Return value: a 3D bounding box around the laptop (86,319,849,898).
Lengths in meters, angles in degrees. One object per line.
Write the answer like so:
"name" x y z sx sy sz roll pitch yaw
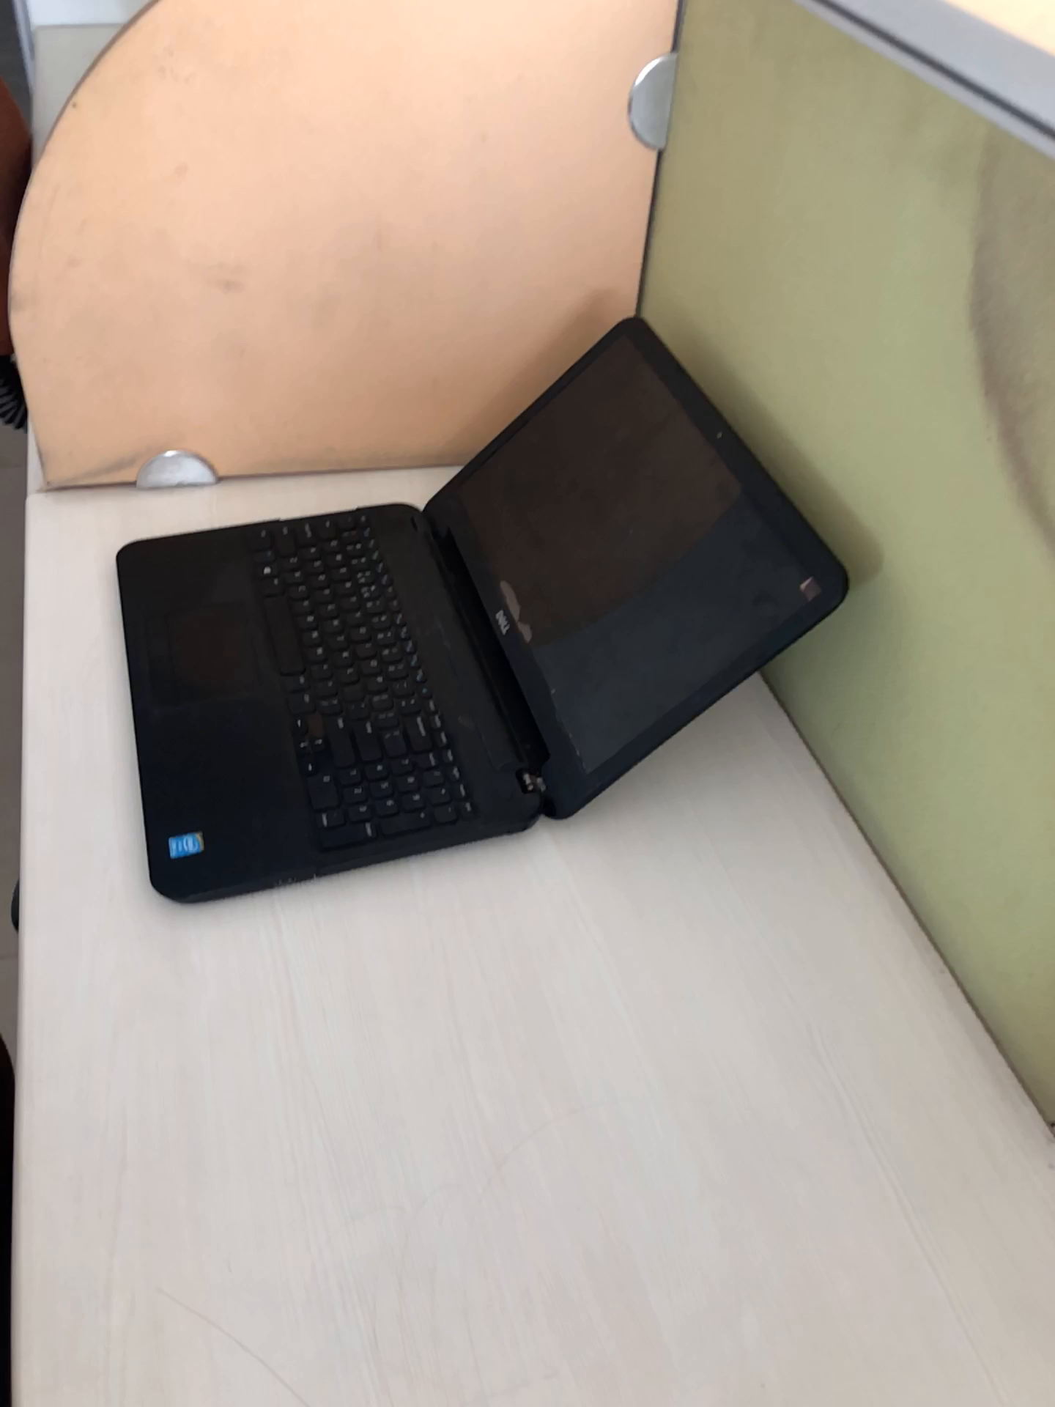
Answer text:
"laptop" -0.067 -0.097 0.823 0.424 0.165 0.358 -10 46 -15
